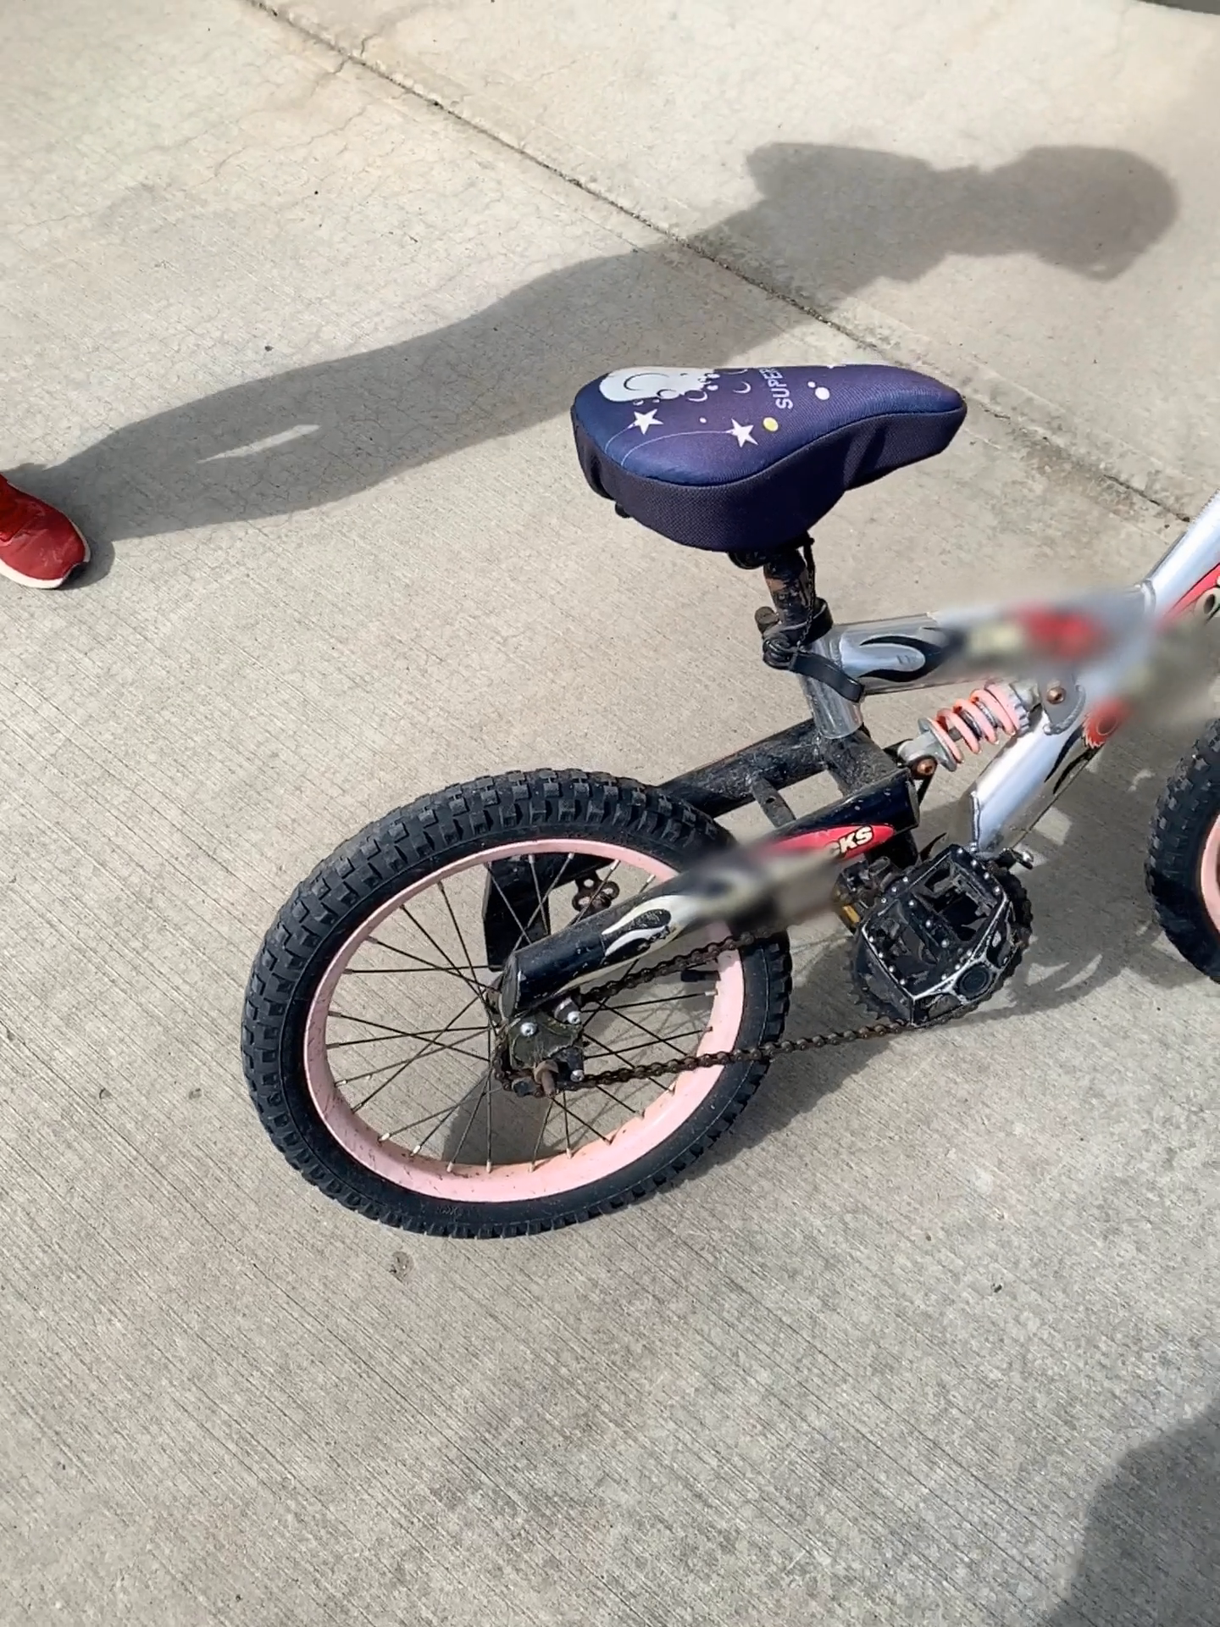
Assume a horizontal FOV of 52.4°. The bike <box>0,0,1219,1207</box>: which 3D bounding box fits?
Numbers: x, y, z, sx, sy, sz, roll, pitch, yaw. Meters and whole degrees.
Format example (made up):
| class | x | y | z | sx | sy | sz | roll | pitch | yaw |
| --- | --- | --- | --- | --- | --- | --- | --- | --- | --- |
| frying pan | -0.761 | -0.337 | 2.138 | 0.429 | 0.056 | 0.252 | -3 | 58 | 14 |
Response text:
| class | x | y | z | sx | sy | sz | roll | pitch | yaw |
| --- | --- | --- | --- | --- | --- | --- | --- | --- | --- |
| bike | 0.282 | -0.159 | 0.837 | 1.123 | 0.692 | 0.359 | -12 | 59 | -13 |
